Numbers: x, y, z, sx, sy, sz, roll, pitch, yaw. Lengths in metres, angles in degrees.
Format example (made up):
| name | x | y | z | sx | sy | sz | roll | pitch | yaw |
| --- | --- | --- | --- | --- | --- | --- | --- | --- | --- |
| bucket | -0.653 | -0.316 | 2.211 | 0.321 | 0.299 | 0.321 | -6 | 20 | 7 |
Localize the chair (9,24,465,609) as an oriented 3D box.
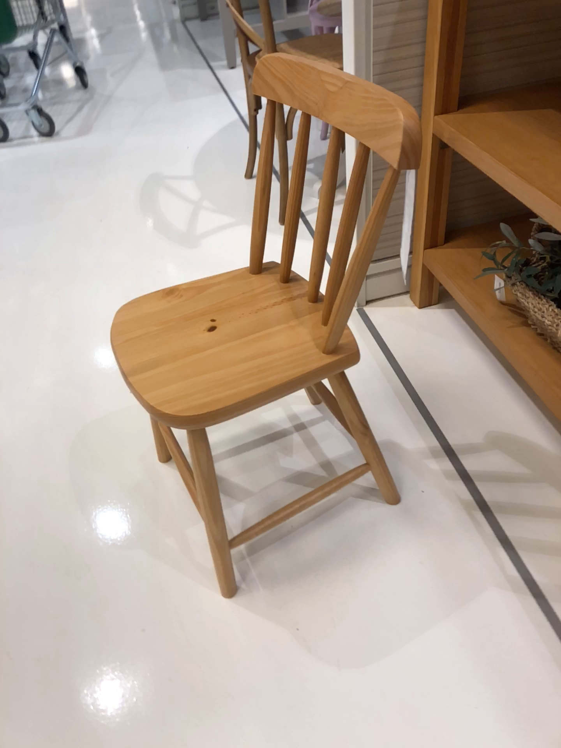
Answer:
| name | x | y | z | sx | sy | sz | roll | pitch | yaw |
| --- | --- | --- | --- | --- | --- | --- | --- | --- | --- |
| chair | -0.048 | -0.077 | 1.020 | 0.450 | 0.755 | 0.423 | -22 | 43 | -16 |
